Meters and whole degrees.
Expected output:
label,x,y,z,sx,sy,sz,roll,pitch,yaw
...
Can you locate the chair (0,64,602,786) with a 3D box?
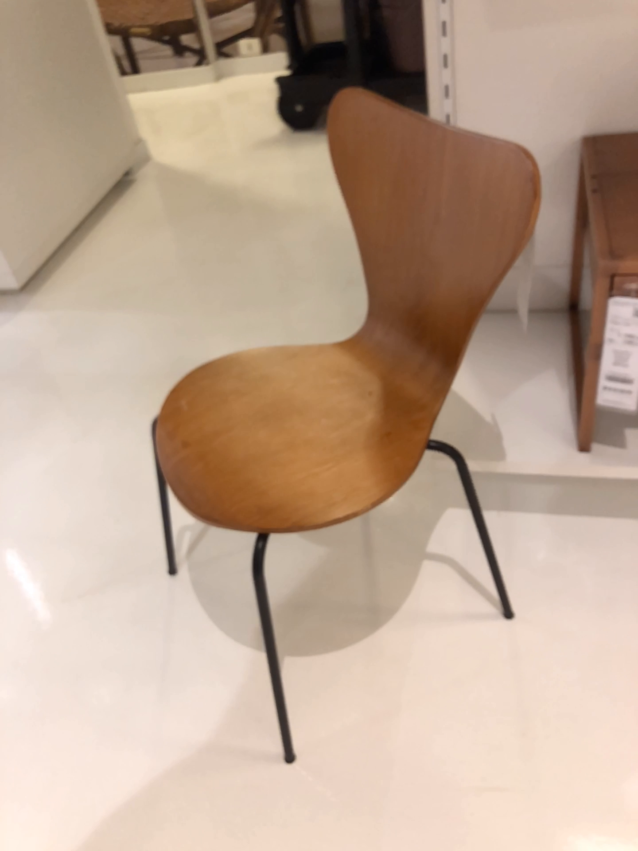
label,x,y,z,sx,sy,sz,roll,pitch,yaw
chair,-0.021,-0.008,1.102,0.571,0.794,0.543,-29,44,-18
